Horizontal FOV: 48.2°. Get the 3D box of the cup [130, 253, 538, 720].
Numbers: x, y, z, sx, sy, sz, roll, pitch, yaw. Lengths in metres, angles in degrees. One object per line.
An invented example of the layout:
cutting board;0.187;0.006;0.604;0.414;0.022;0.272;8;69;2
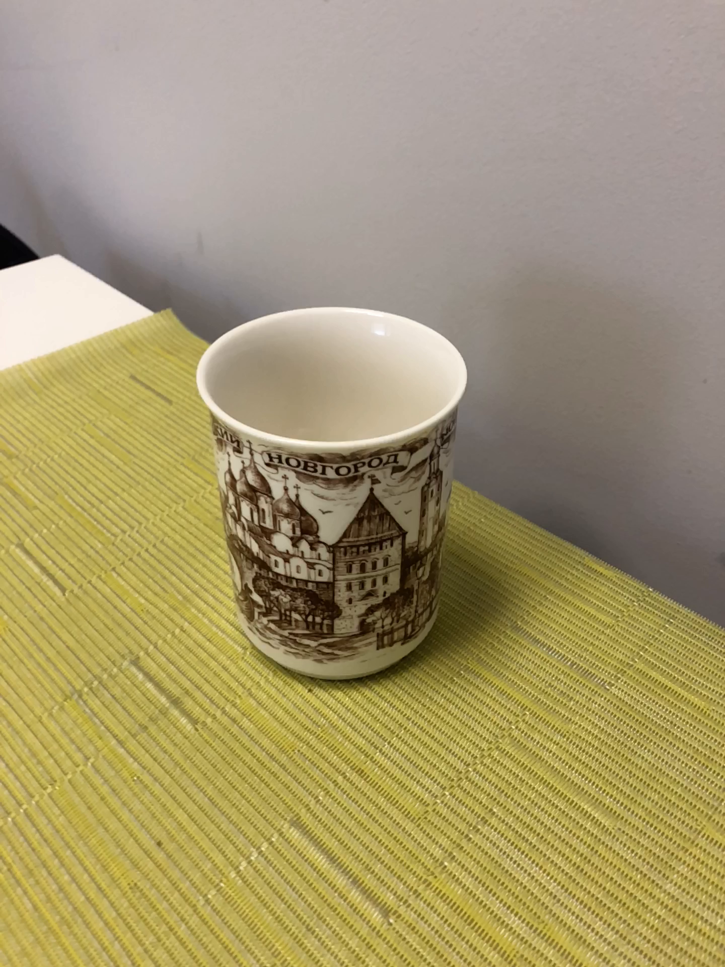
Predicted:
cup;-0.018;-0.008;0.284;0.094;0.092;0.124;-12;39;-16
